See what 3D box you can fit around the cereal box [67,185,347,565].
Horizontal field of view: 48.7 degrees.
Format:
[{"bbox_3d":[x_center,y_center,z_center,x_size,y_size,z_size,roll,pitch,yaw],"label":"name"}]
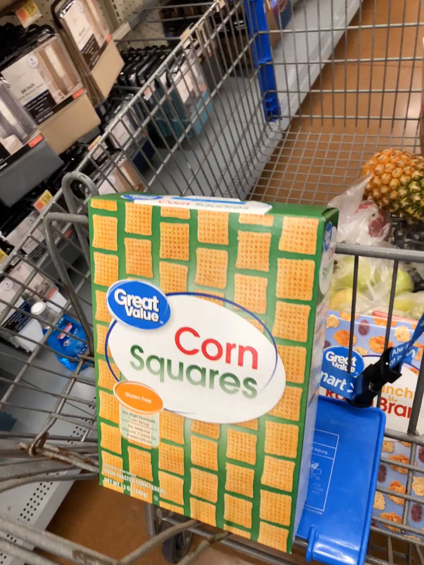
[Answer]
[{"bbox_3d":[-0.009,0.068,0.391,0.200,0.280,0.070,8,17,22],"label":"cereal box"}]
